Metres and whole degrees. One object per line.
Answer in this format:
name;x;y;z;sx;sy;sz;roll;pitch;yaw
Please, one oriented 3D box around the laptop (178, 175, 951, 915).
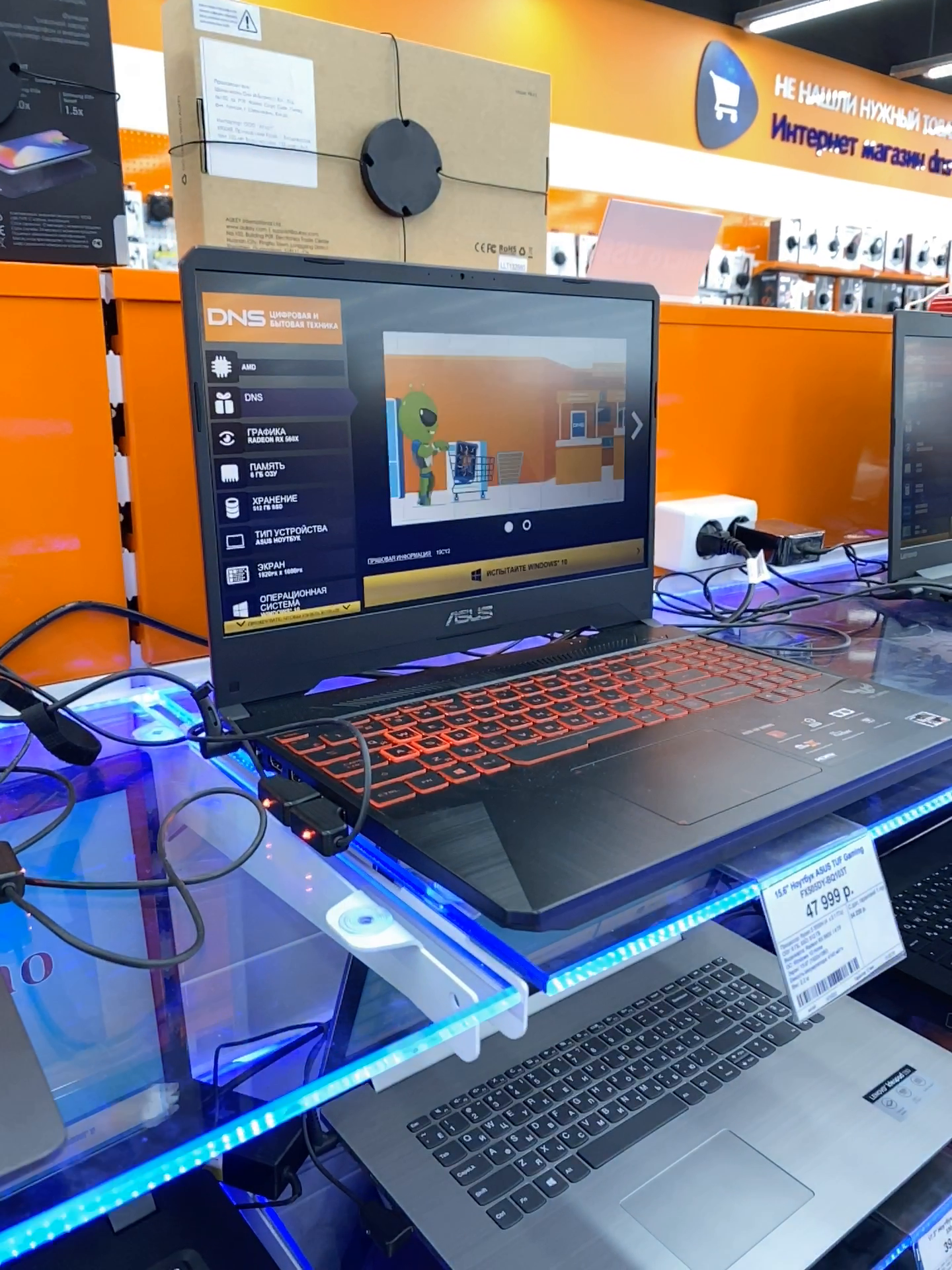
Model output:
laptop;0.074;-0.076;0.538;0.359;0.248;0.286;-10;19;-37
